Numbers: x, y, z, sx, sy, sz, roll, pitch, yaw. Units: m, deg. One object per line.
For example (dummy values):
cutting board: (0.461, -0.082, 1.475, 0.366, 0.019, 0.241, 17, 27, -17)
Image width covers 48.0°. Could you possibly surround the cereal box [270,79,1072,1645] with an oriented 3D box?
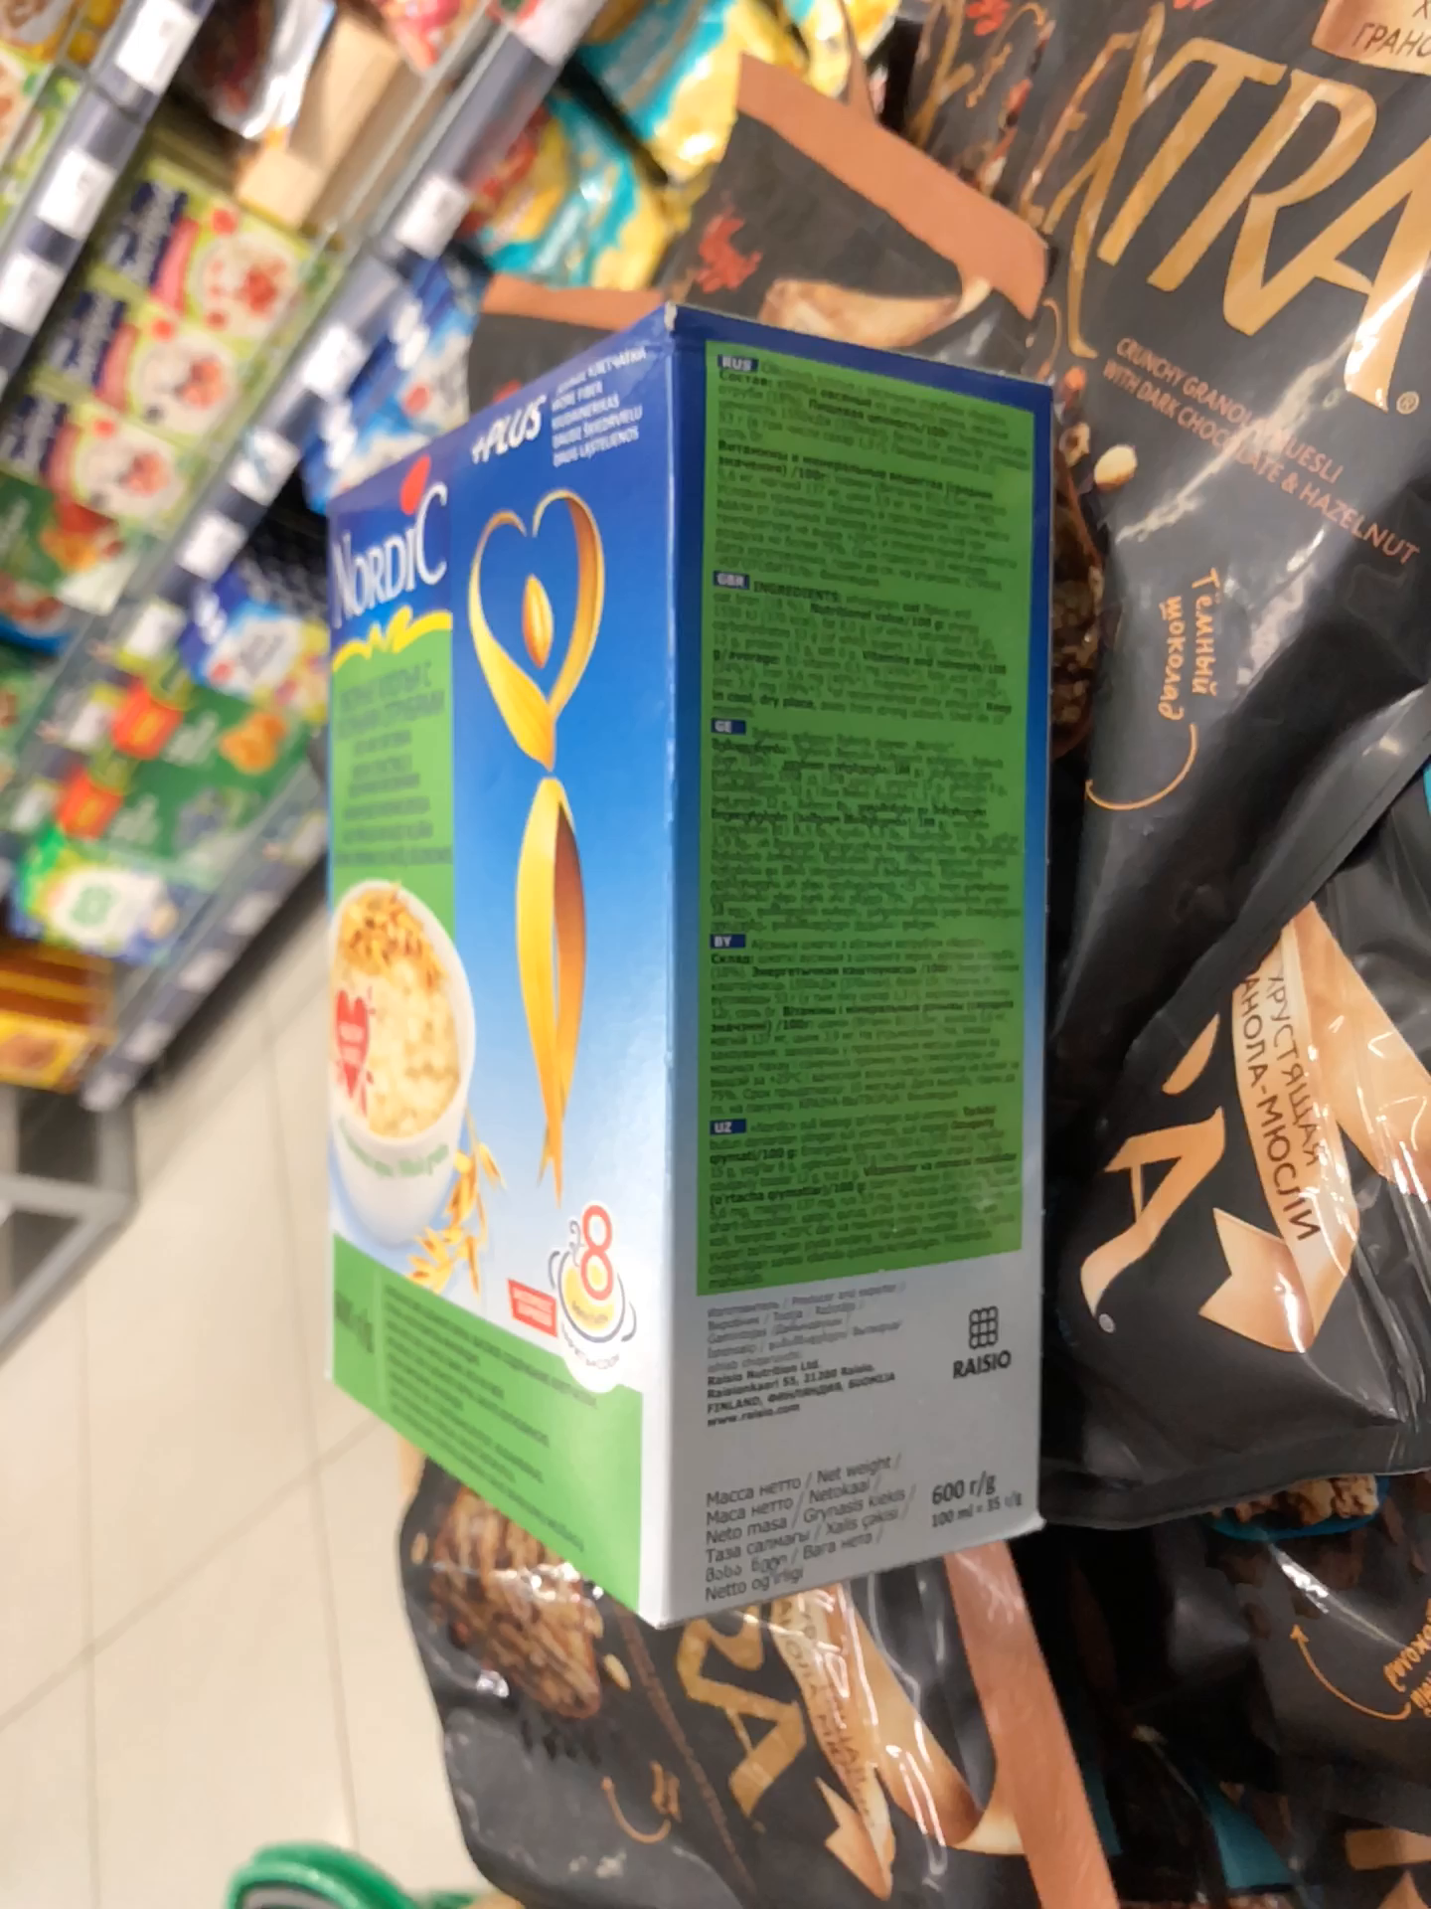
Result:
cereal box: (-0.021, -0.014, 0.305, 0.161, 0.080, 0.210, 3, 93, 58)
